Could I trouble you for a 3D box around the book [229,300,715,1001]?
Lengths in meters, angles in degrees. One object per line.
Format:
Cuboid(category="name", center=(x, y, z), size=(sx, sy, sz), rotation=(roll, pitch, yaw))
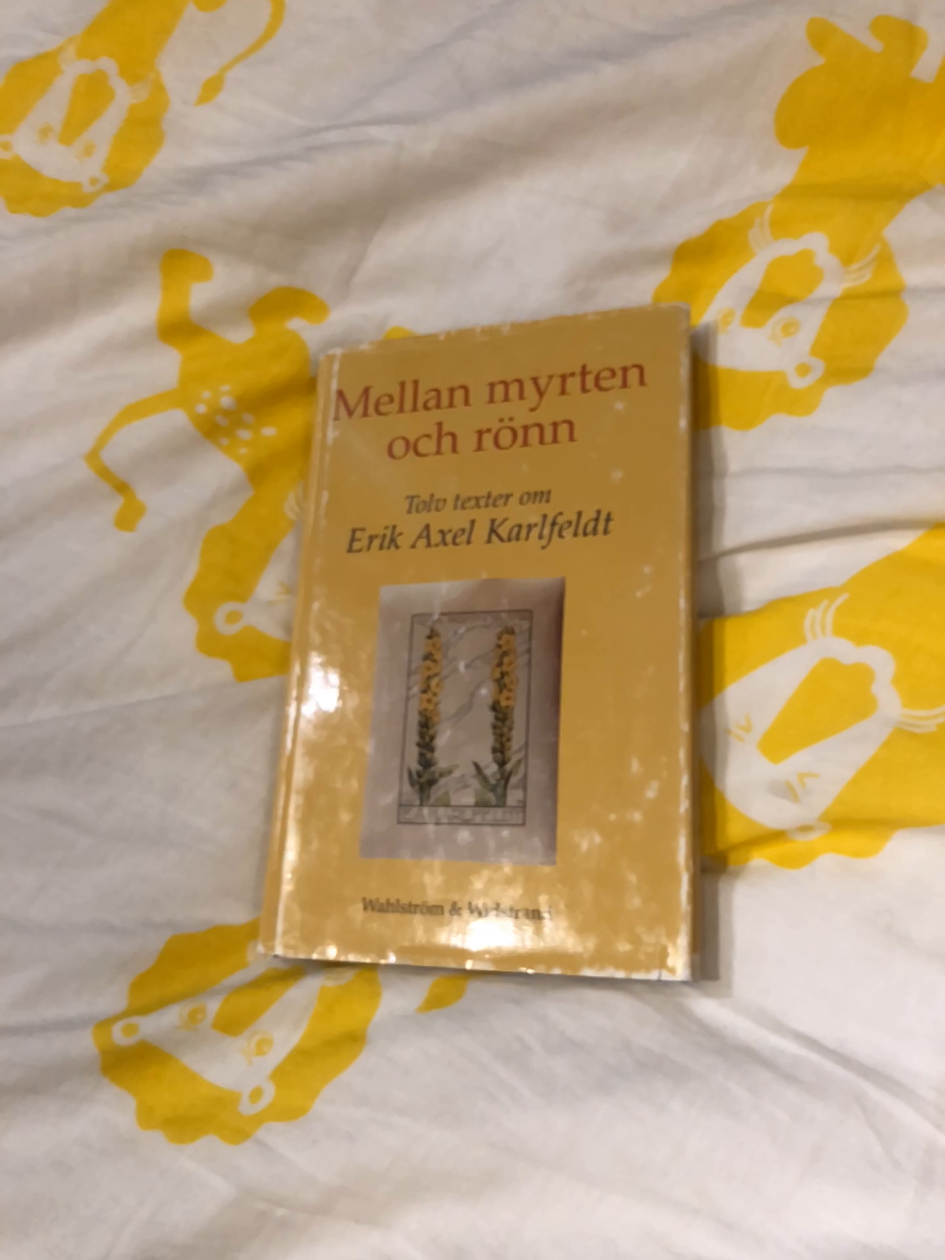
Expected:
Cuboid(category="book", center=(0.005, 0.002, 0.345), size=(0.141, 0.030, 0.215), rotation=(-2, 71, 18))
